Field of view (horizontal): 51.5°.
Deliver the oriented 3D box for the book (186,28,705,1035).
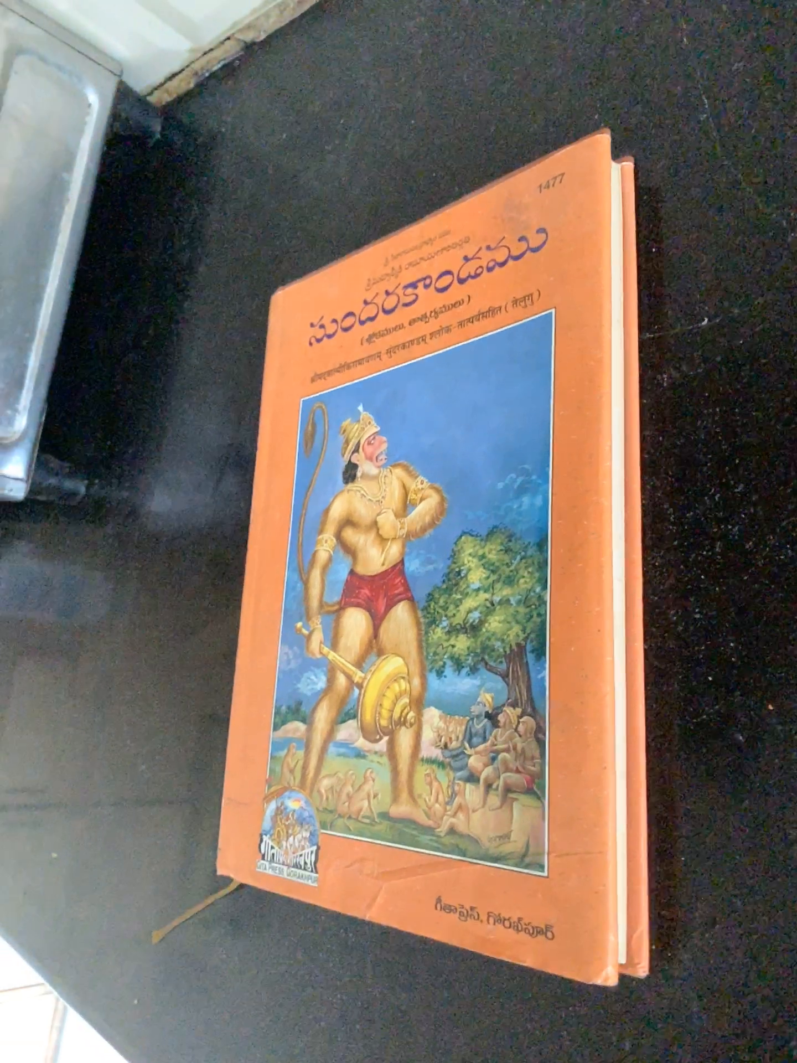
[{"bbox_3d":[0.009,-0.006,0.321,0.201,0.040,0.300,-9,72,42],"label":"book"}]
